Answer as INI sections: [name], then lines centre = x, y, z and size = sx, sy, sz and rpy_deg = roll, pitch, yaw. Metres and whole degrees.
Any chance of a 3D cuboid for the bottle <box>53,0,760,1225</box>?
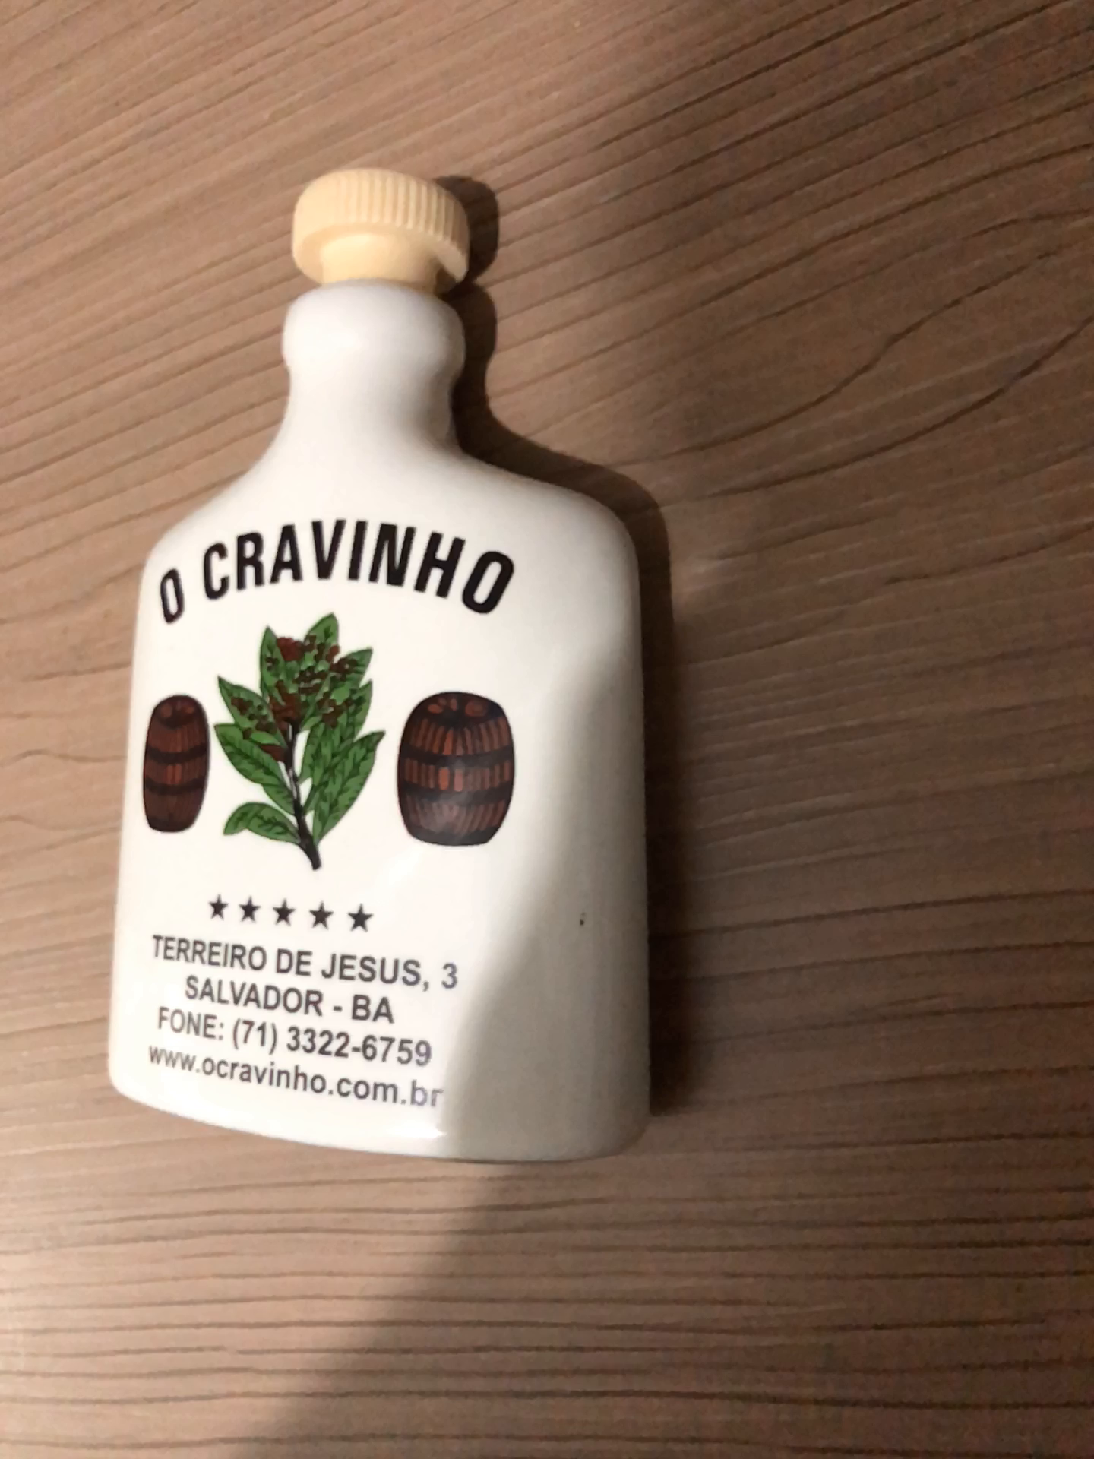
[bottle]
centre = -0.022, -0.019, 0.192
size = 0.100, 0.040, 0.160
rpy_deg = -1, 86, 26
